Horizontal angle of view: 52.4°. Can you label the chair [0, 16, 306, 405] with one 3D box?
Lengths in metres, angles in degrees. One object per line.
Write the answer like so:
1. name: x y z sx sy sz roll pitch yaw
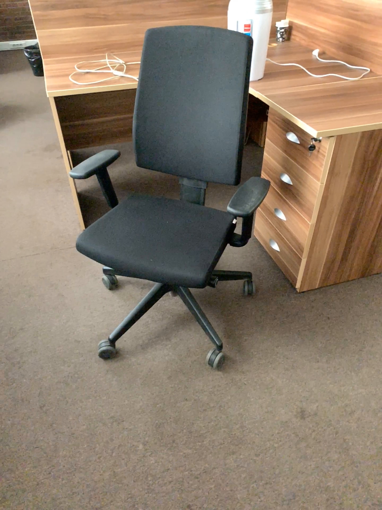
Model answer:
1. chair: -0.101 -0.200 1.313 0.671 0.915 0.793 15 42 19
